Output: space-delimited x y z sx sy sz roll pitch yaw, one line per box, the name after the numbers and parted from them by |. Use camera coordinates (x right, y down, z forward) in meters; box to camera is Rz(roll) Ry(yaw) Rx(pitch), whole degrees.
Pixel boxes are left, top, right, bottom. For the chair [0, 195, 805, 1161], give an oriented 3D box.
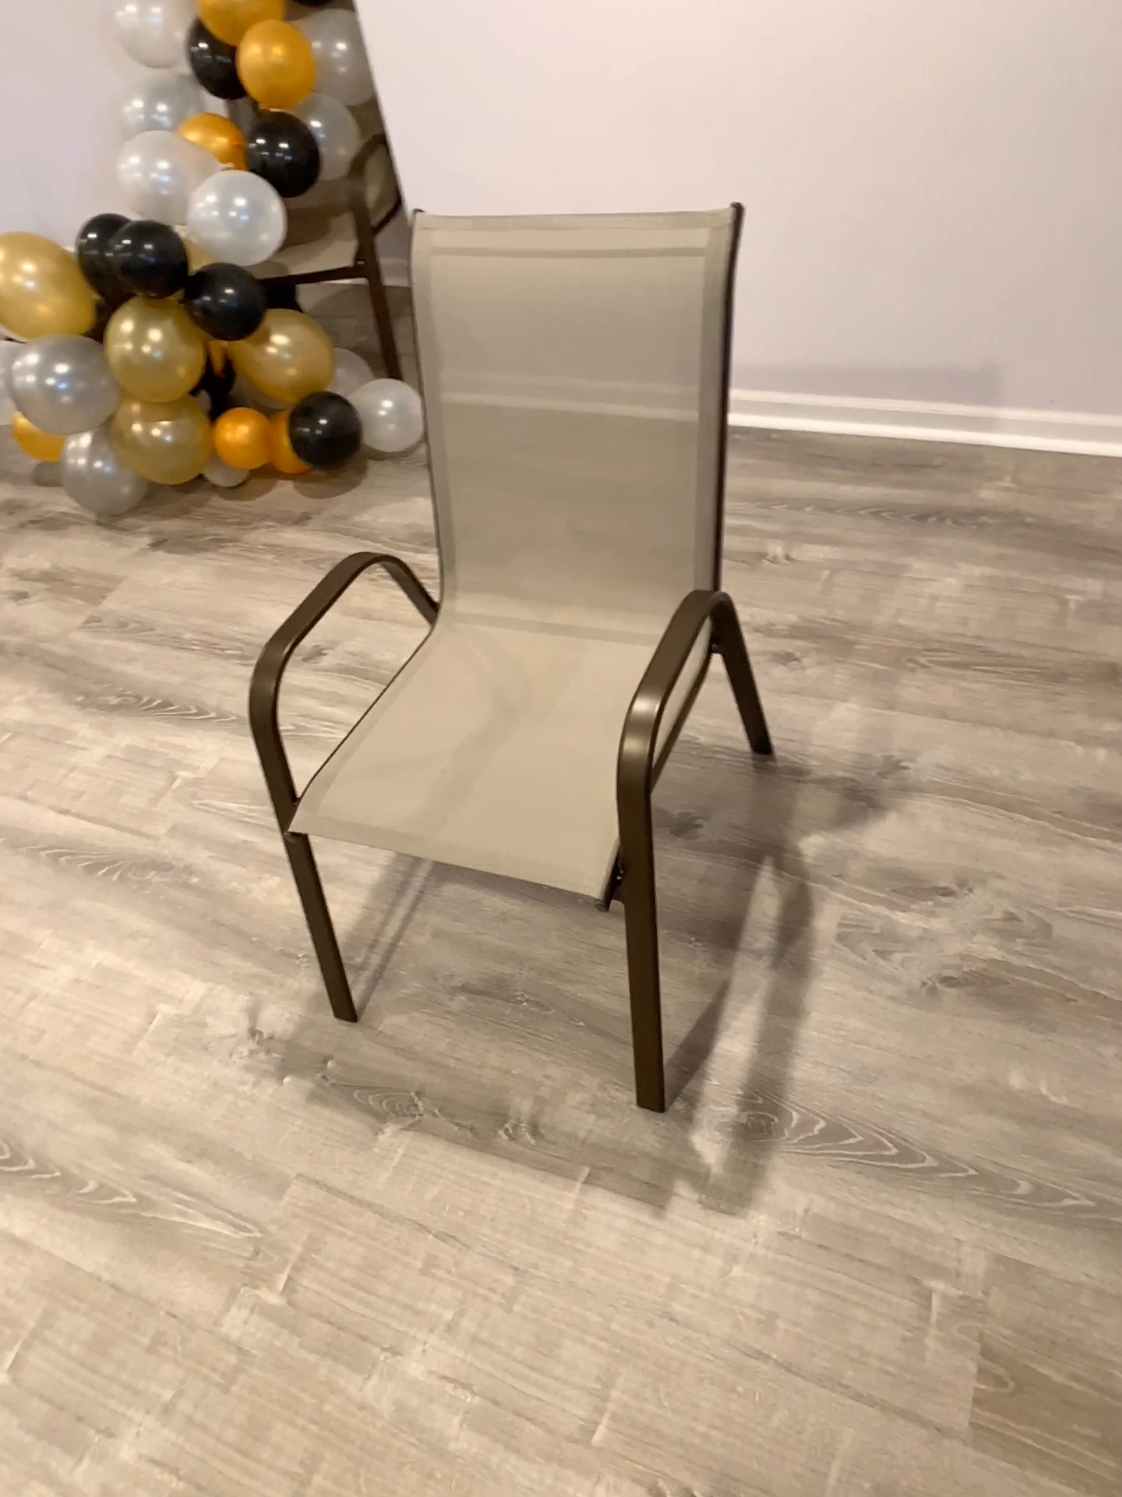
-0.057 -0.090 1.430 0.565 0.874 0.719 10 49 21 | chair
